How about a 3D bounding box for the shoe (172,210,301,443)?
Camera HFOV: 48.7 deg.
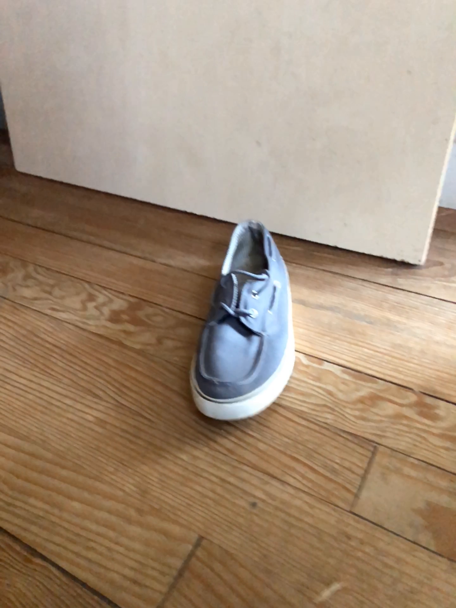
[{"bbox_3d":[0.023,0.003,0.512,0.100,0.060,0.272,1,42,8],"label":"shoe"}]
